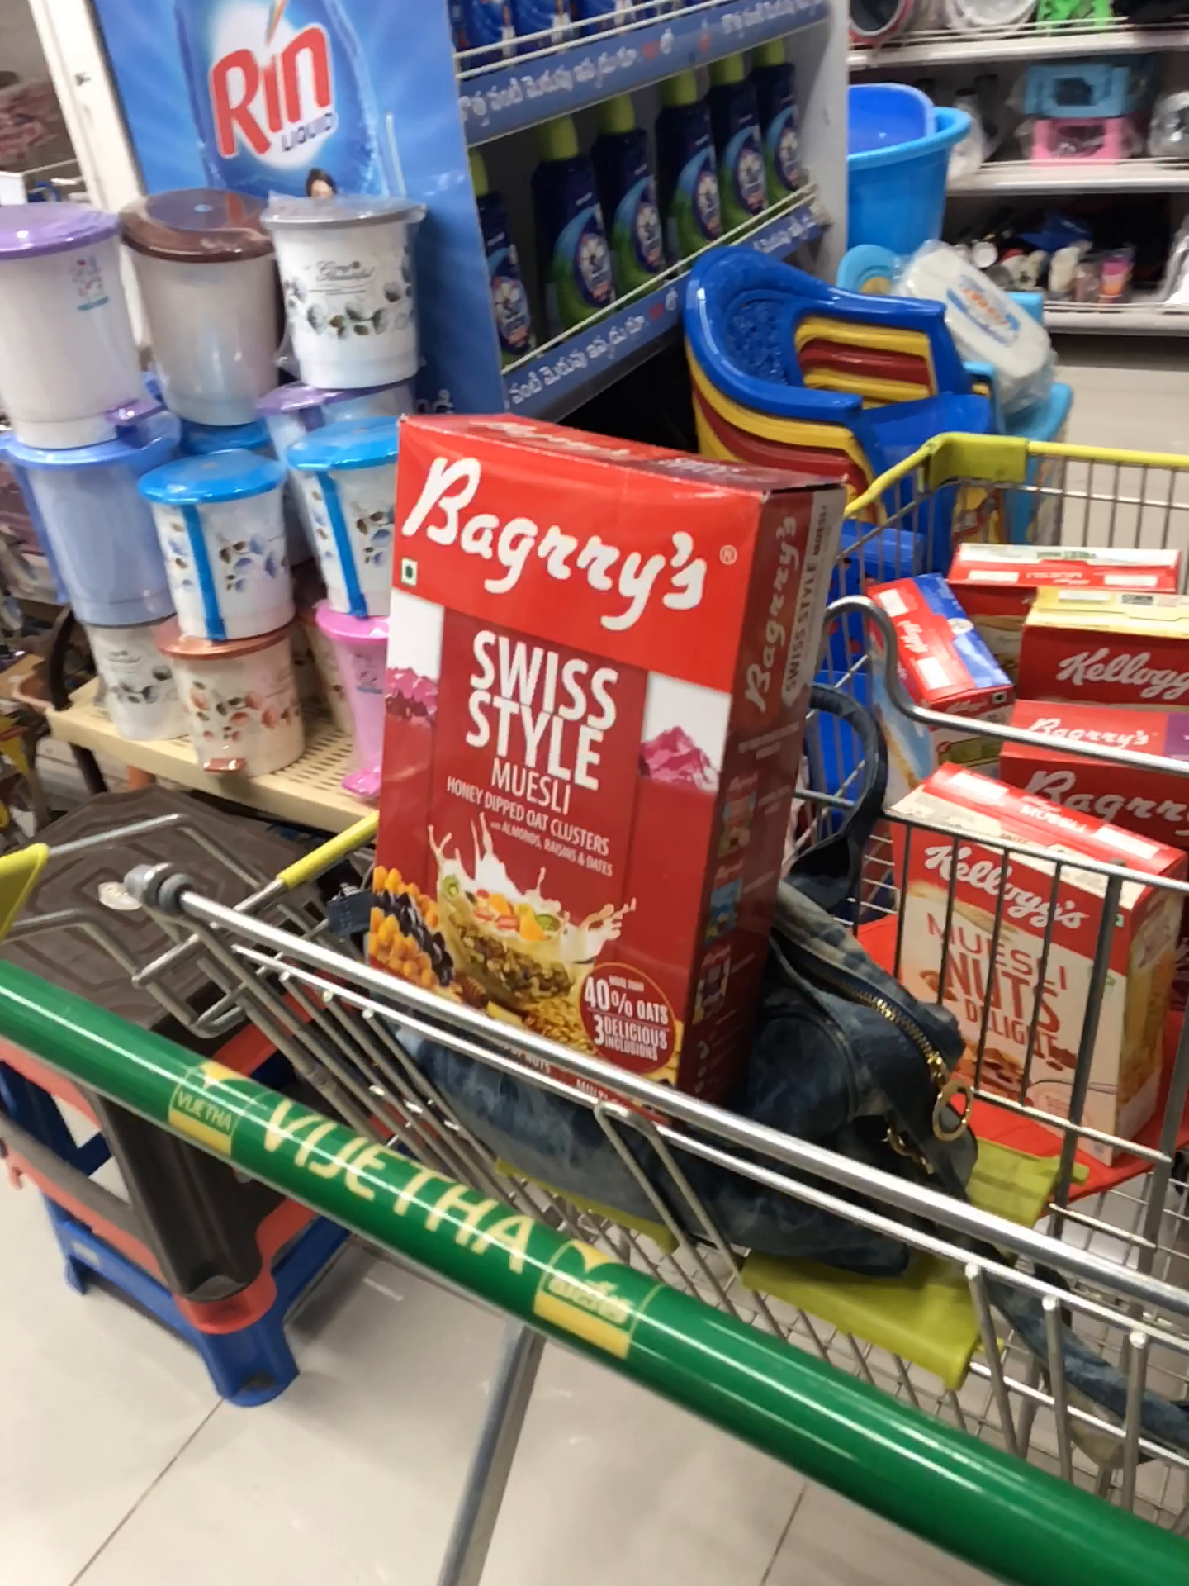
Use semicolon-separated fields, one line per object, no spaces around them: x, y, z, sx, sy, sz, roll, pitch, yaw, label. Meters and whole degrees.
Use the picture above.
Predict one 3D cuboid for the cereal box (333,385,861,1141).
-0.013;-0.023;0.545;0.191;0.259;0.070;21;22;36;cereal box
